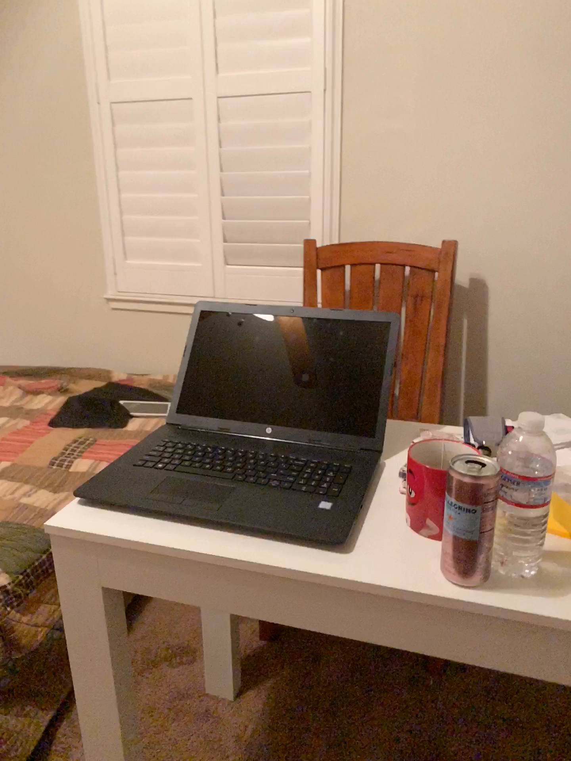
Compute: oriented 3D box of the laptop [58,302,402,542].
[{"bbox_3d":[-0.050,0.021,0.942,0.400,0.197,0.417,5,20,19],"label":"laptop"}]
